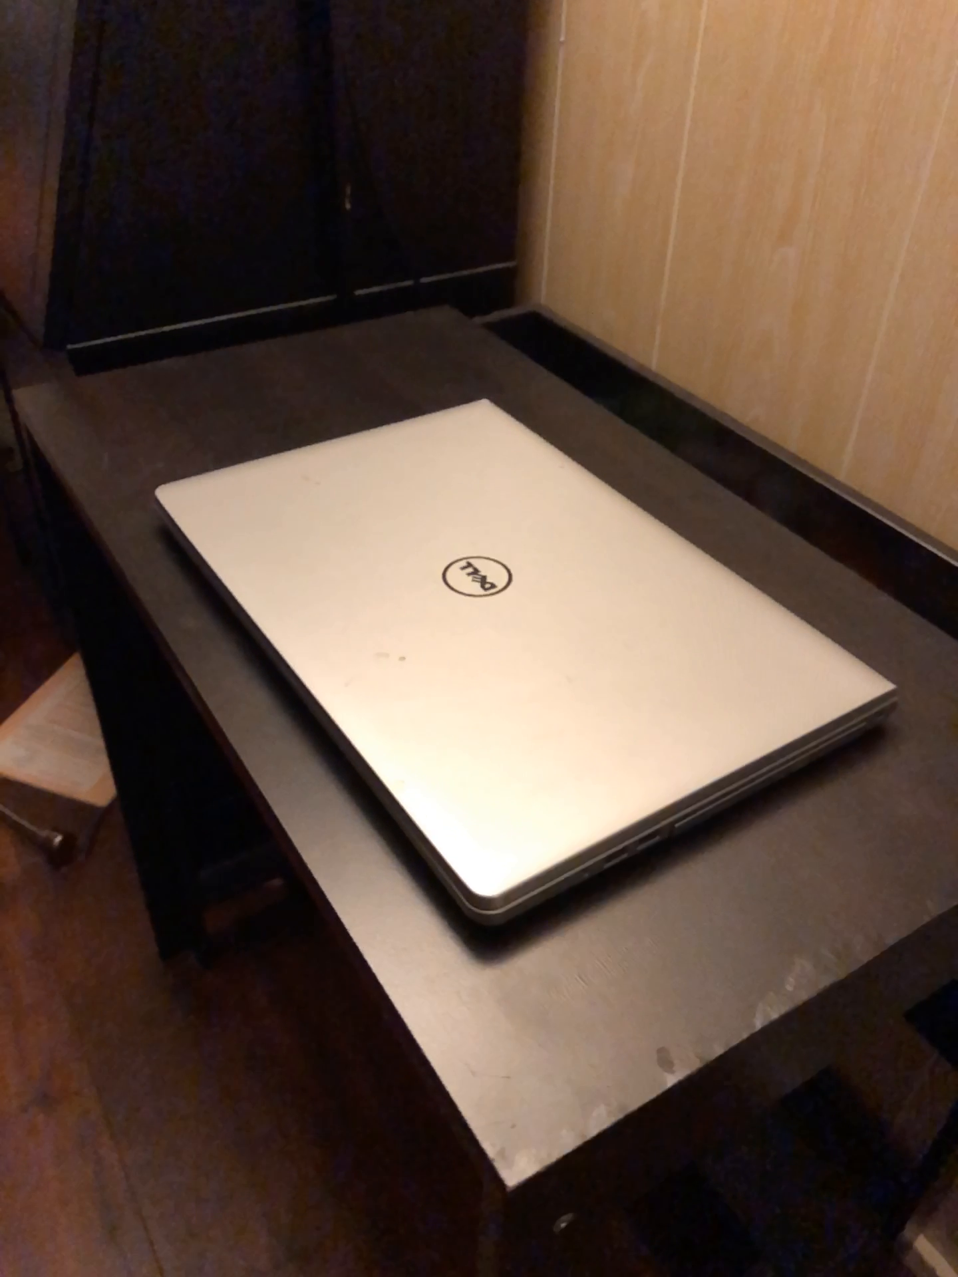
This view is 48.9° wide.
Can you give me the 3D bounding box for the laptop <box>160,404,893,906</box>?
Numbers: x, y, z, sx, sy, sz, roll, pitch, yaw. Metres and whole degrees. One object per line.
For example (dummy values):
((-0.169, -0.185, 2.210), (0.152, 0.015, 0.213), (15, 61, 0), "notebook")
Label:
((0.003, -0.033, 0.597), (0.249, 0.003, 0.372), (-21, 43, -26), "laptop")
